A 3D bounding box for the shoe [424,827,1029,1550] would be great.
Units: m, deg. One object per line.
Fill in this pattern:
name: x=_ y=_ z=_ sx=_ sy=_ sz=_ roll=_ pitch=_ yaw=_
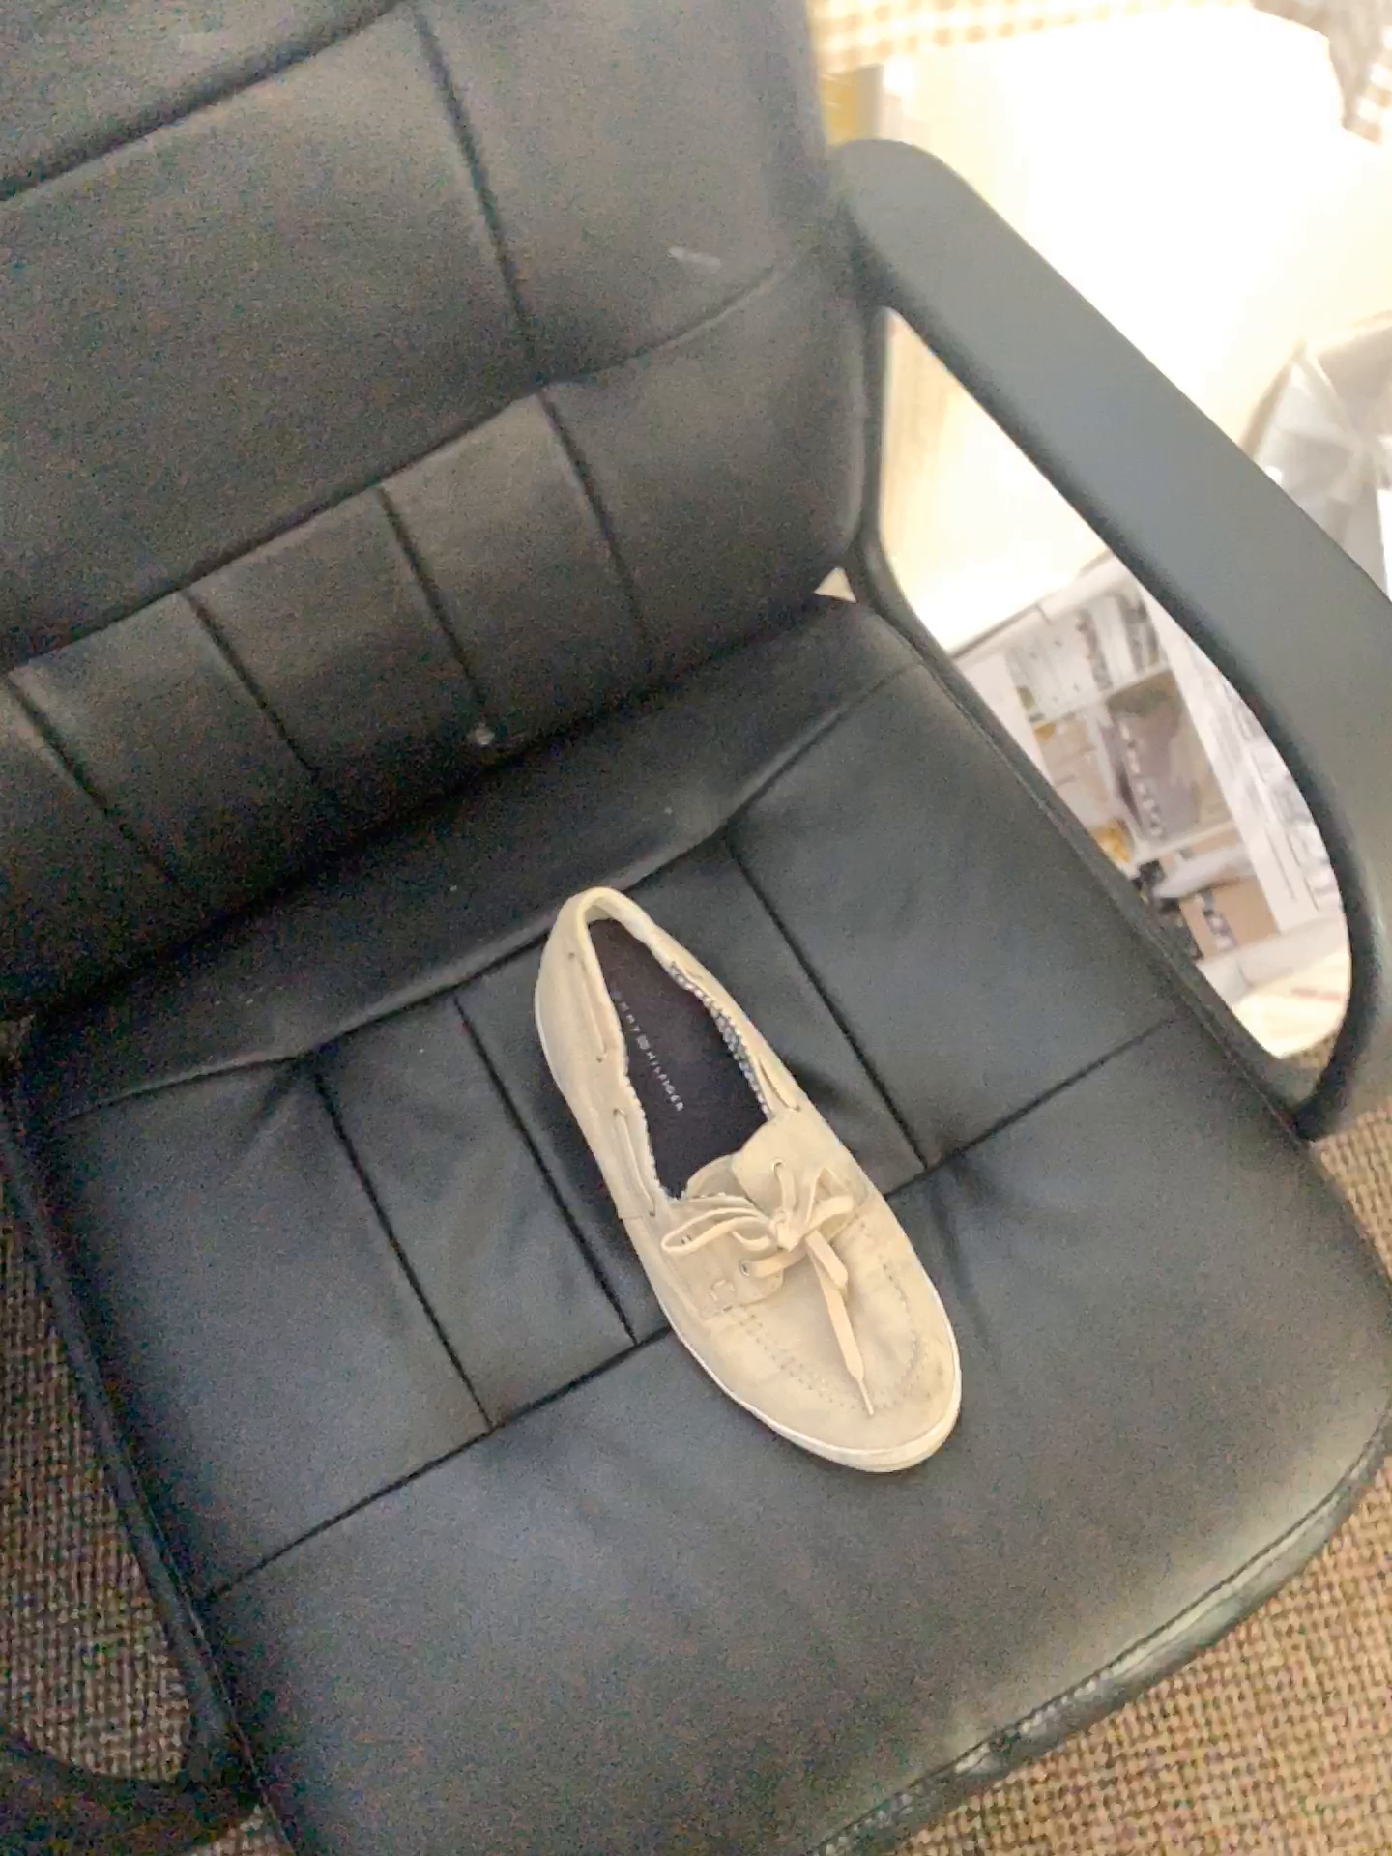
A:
shoe: x=0.005 y=0.099 z=0.581 sx=0.100 sy=0.070 sz=0.271 roll=-32 pitch=68 yaw=-9
